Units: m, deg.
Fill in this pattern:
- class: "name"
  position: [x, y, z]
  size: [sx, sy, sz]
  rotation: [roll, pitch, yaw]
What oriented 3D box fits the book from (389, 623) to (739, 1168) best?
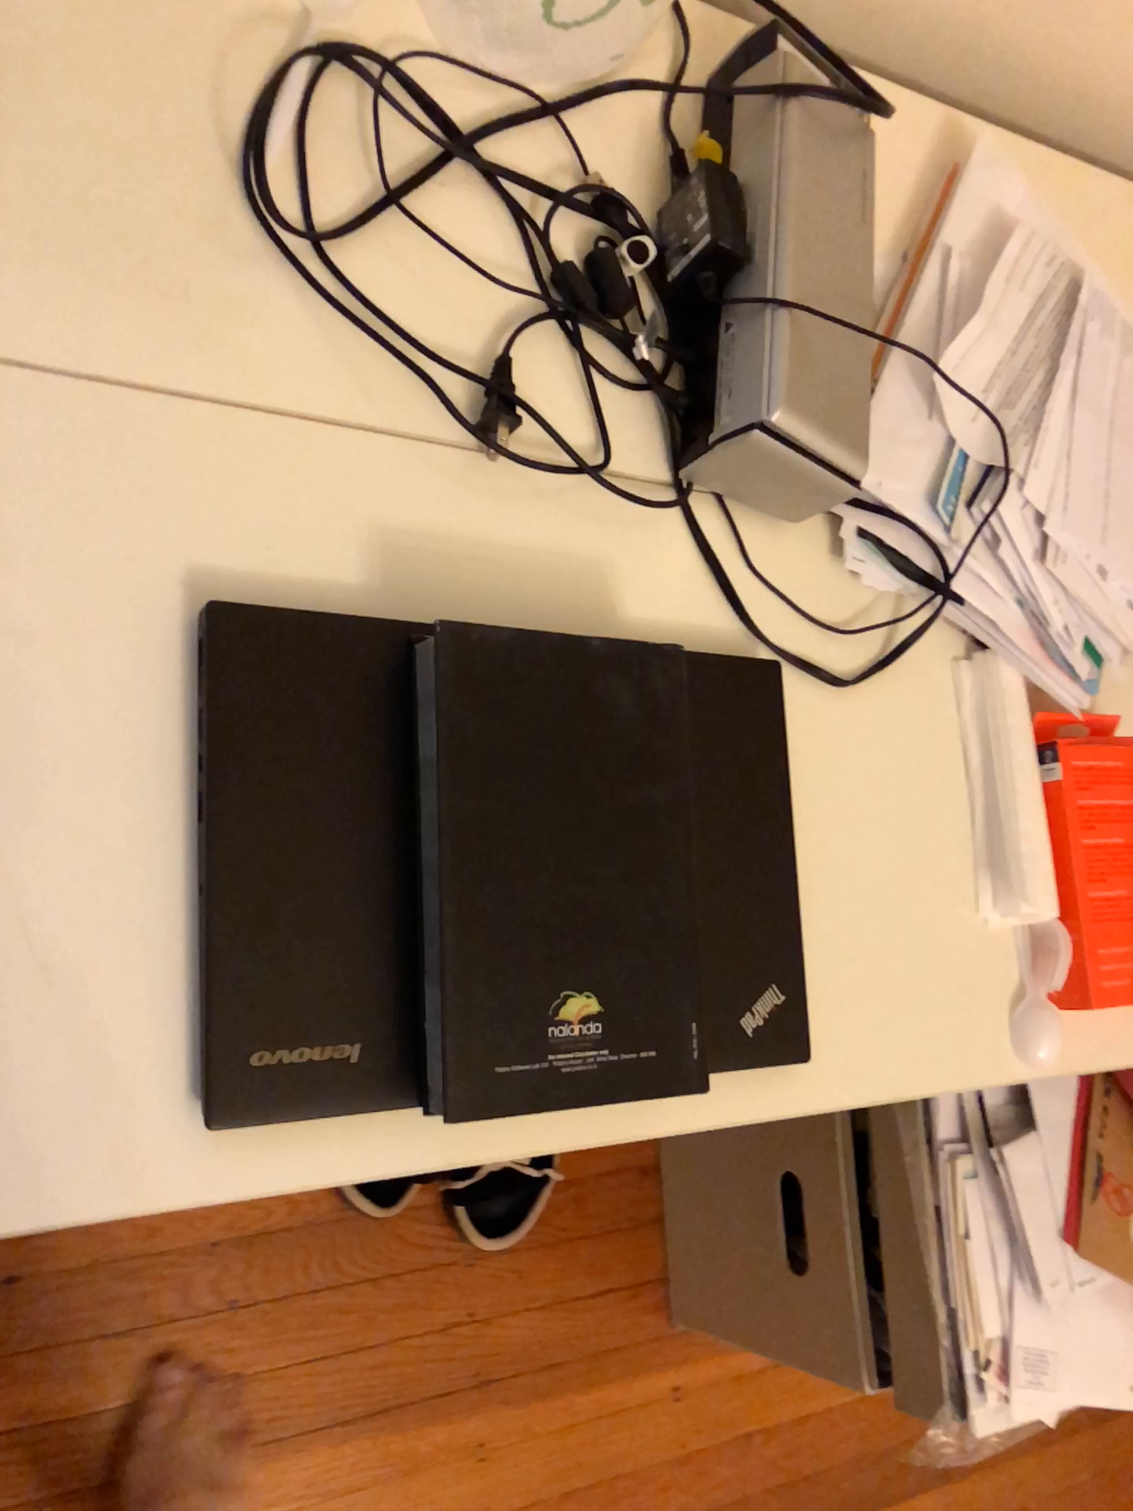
- class: "book"
  position: [-0.001, 0.061, 0.581]
  size: [0.150, 0.040, 0.230]
  rotation: [2, 78, -31]
